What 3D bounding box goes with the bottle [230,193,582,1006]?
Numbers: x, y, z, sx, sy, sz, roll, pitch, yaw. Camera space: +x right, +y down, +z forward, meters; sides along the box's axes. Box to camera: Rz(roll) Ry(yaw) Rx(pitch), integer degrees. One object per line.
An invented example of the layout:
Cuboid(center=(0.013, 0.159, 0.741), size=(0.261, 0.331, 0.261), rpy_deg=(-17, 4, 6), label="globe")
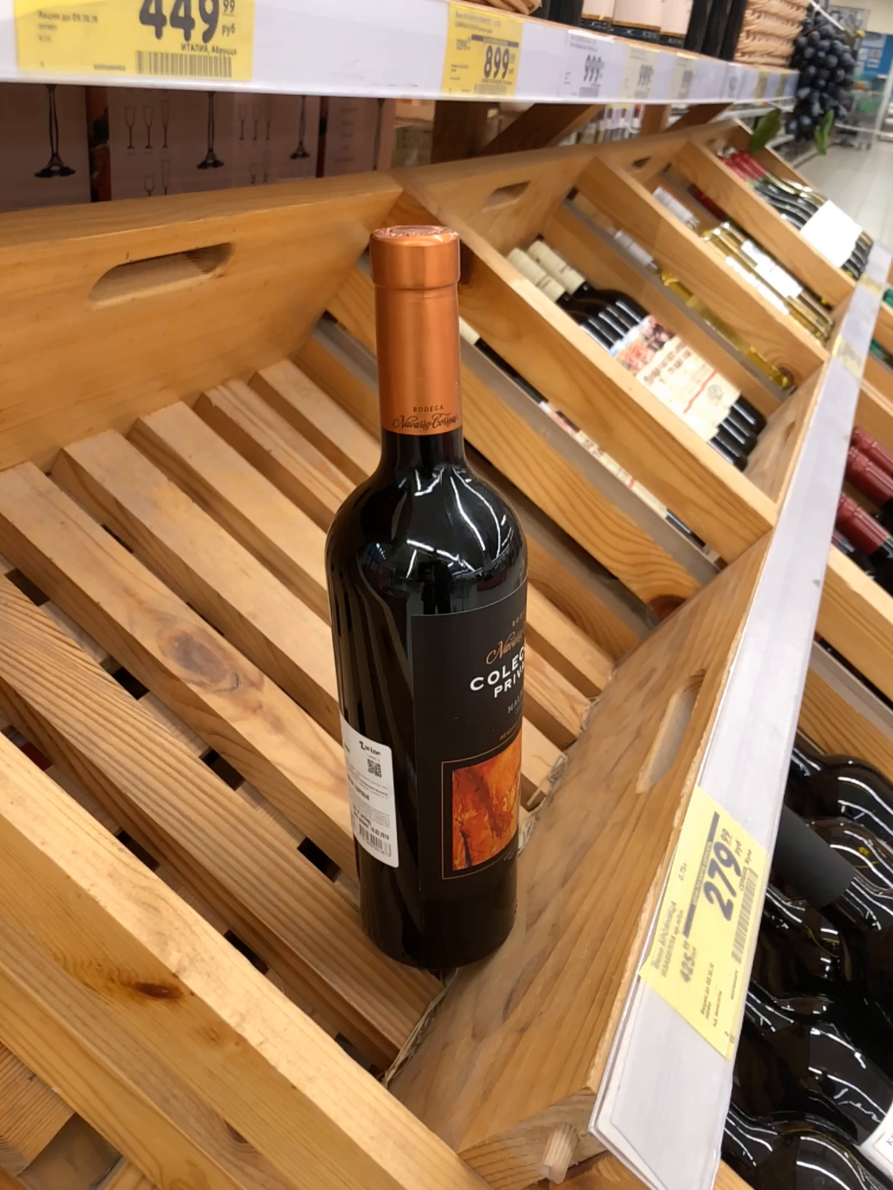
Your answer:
Cuboid(center=(-0.004, 0.008, 0.373), size=(0.080, 0.288, 0.087), rpy_deg=(-2, 27, 1), label="bottle")
